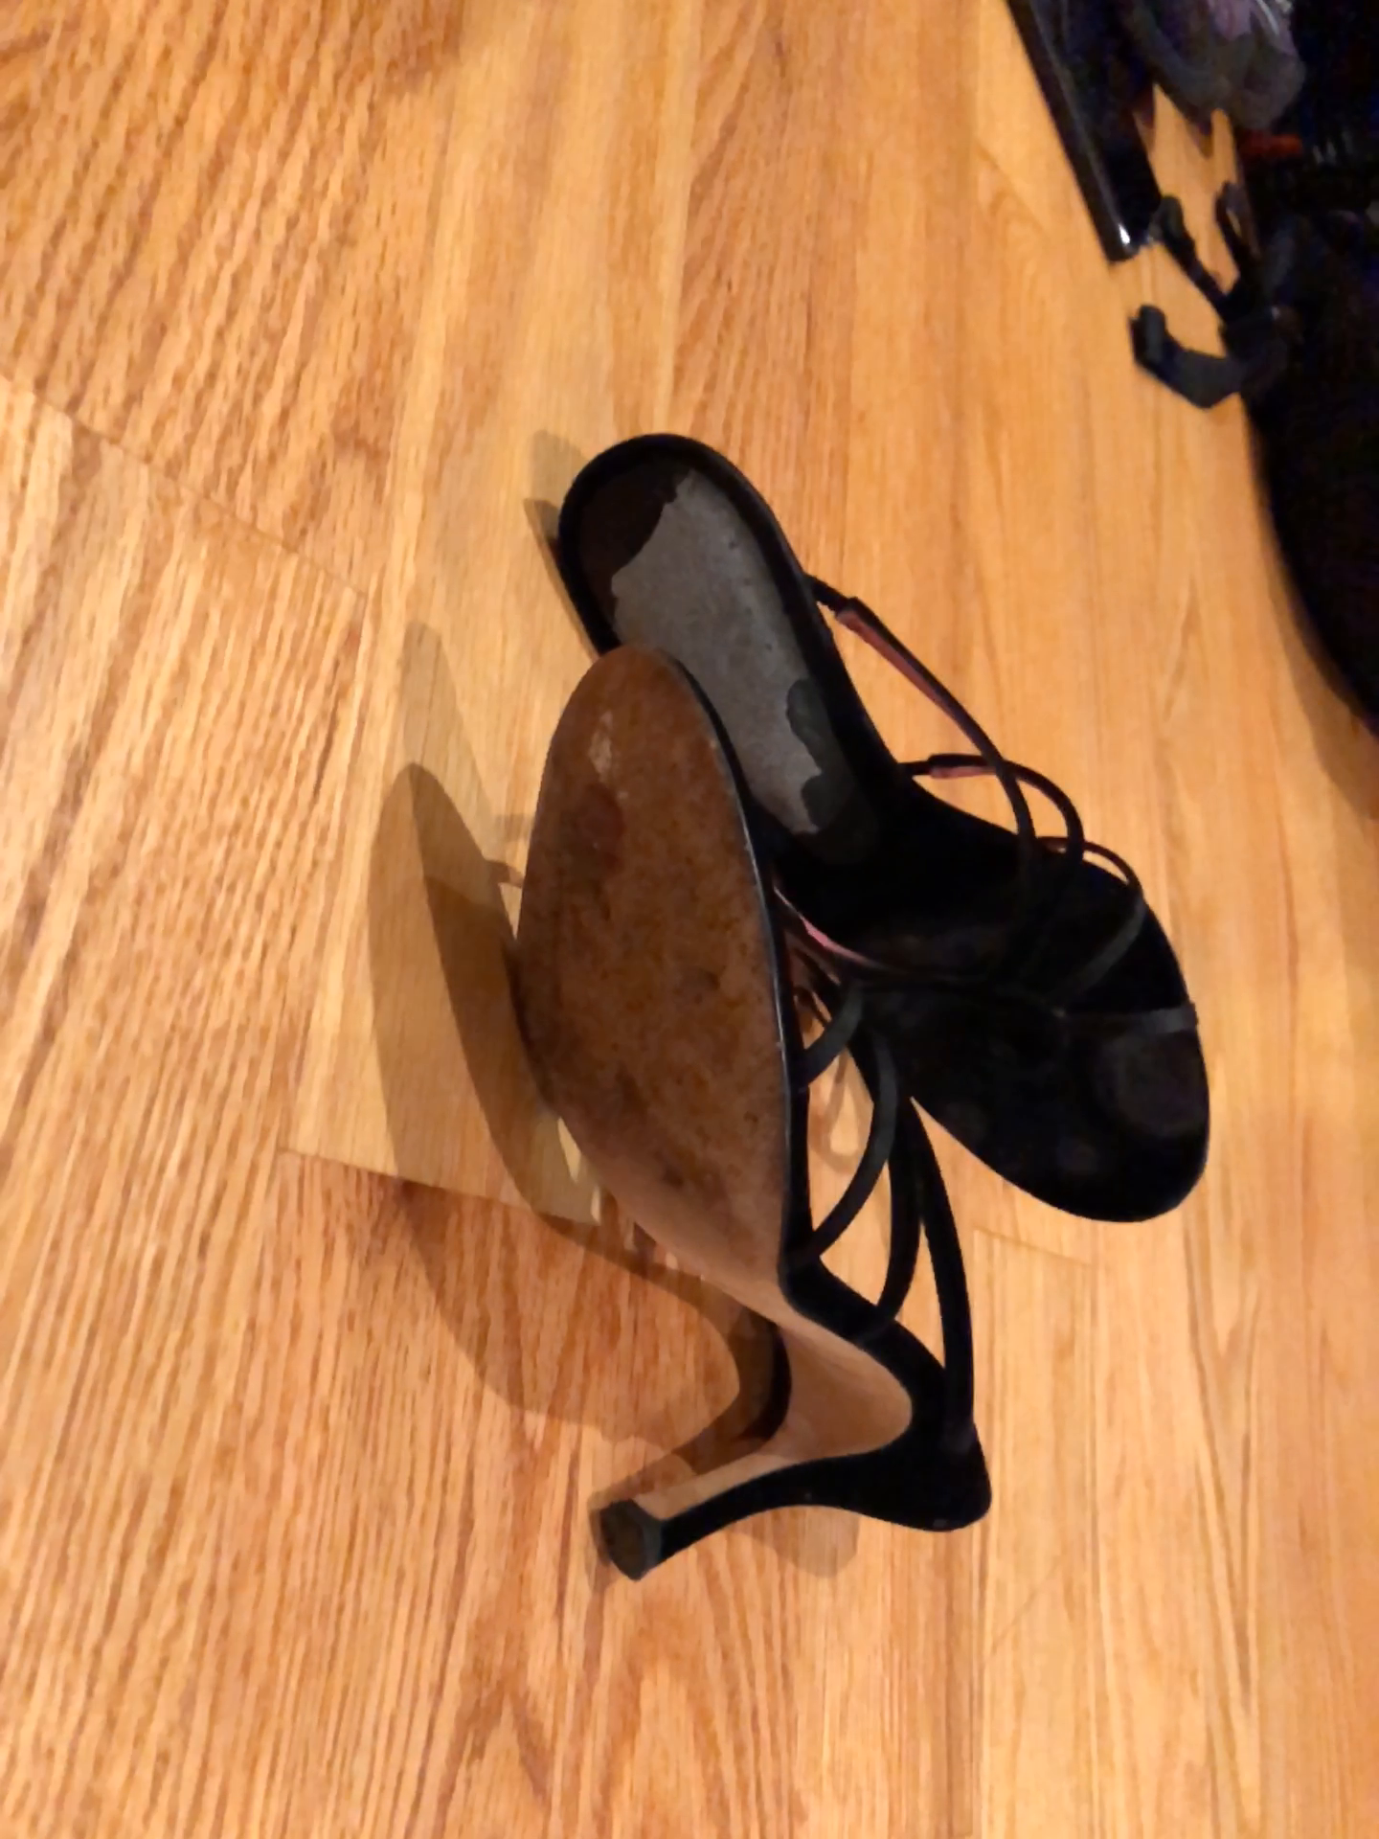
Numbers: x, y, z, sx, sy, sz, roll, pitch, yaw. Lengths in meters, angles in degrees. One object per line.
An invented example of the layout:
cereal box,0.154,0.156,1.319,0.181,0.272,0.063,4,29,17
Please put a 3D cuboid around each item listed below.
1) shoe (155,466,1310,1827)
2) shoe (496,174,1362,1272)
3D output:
shoe,0.026,0.049,0.289,0.215,0.104,0.102,61,39,-22
shoe,0.069,-0.031,0.369,0.082,0.104,0.235,-50,120,-45
